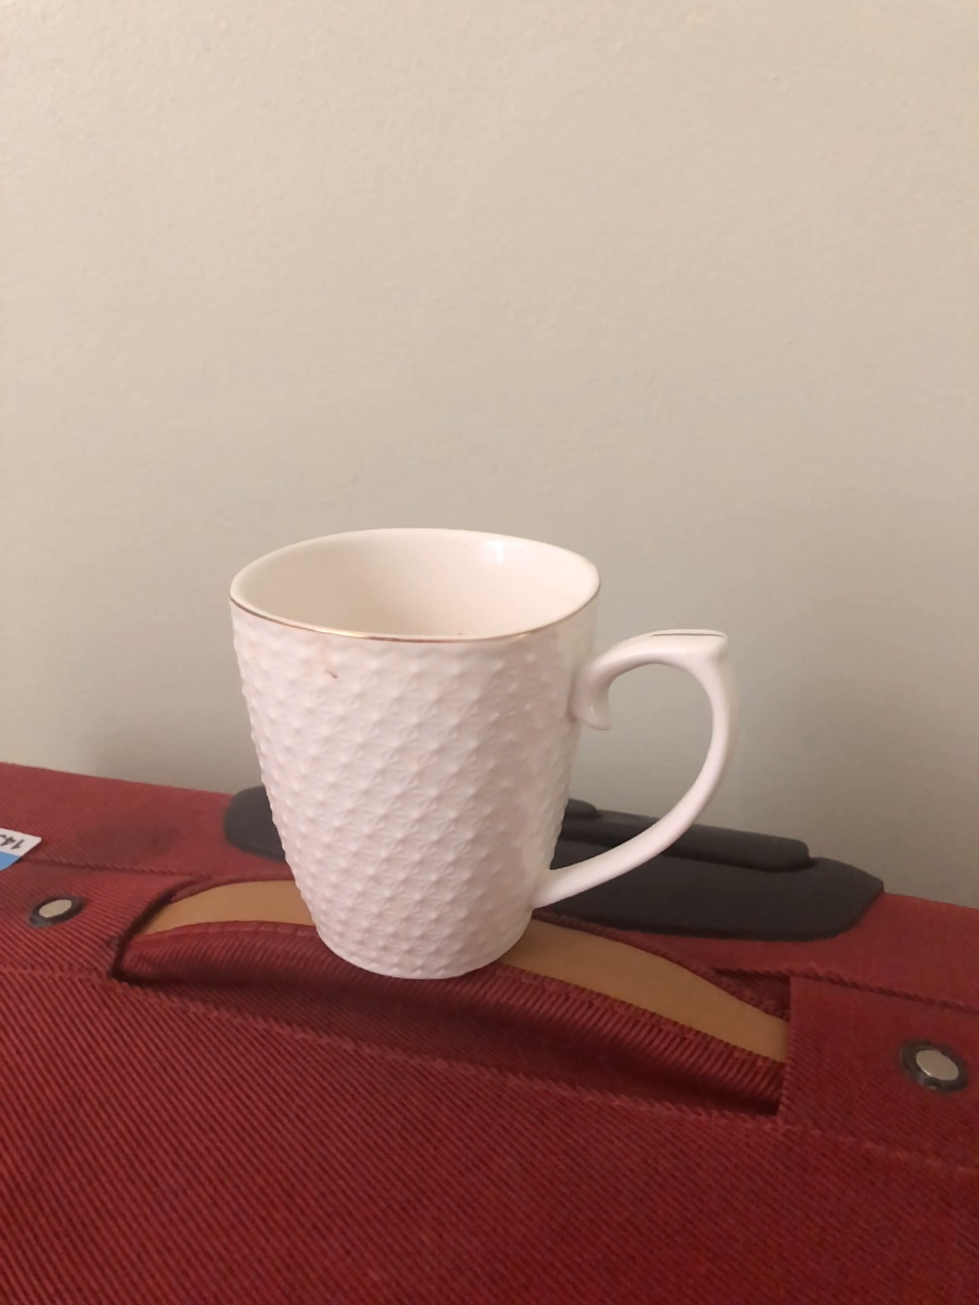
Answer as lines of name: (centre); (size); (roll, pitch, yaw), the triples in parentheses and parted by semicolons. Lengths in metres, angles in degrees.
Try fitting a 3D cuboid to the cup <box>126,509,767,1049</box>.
cup: (-0.003, 0.021, 0.236); (0.111, 0.084, 0.075); (2, 23, 9)
